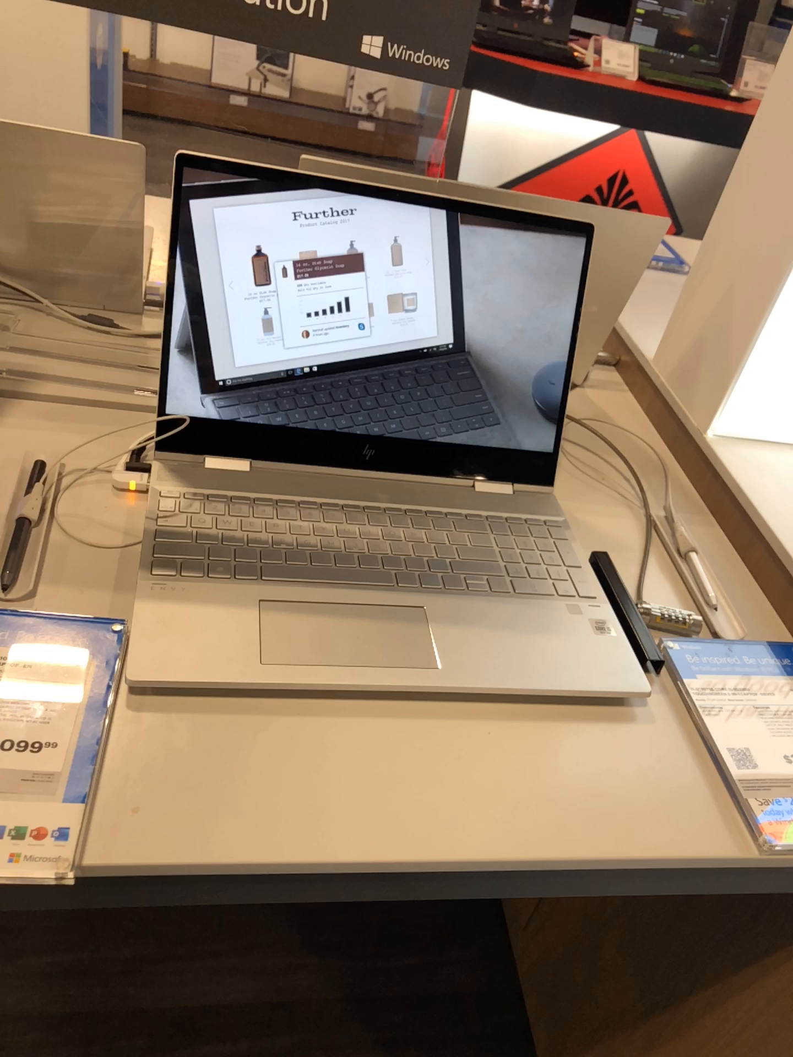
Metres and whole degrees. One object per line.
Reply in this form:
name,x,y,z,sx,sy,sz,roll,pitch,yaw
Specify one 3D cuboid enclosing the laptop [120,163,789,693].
laptop,0.002,-0.085,0.651,0.358,0.210,0.355,4,37,-14
